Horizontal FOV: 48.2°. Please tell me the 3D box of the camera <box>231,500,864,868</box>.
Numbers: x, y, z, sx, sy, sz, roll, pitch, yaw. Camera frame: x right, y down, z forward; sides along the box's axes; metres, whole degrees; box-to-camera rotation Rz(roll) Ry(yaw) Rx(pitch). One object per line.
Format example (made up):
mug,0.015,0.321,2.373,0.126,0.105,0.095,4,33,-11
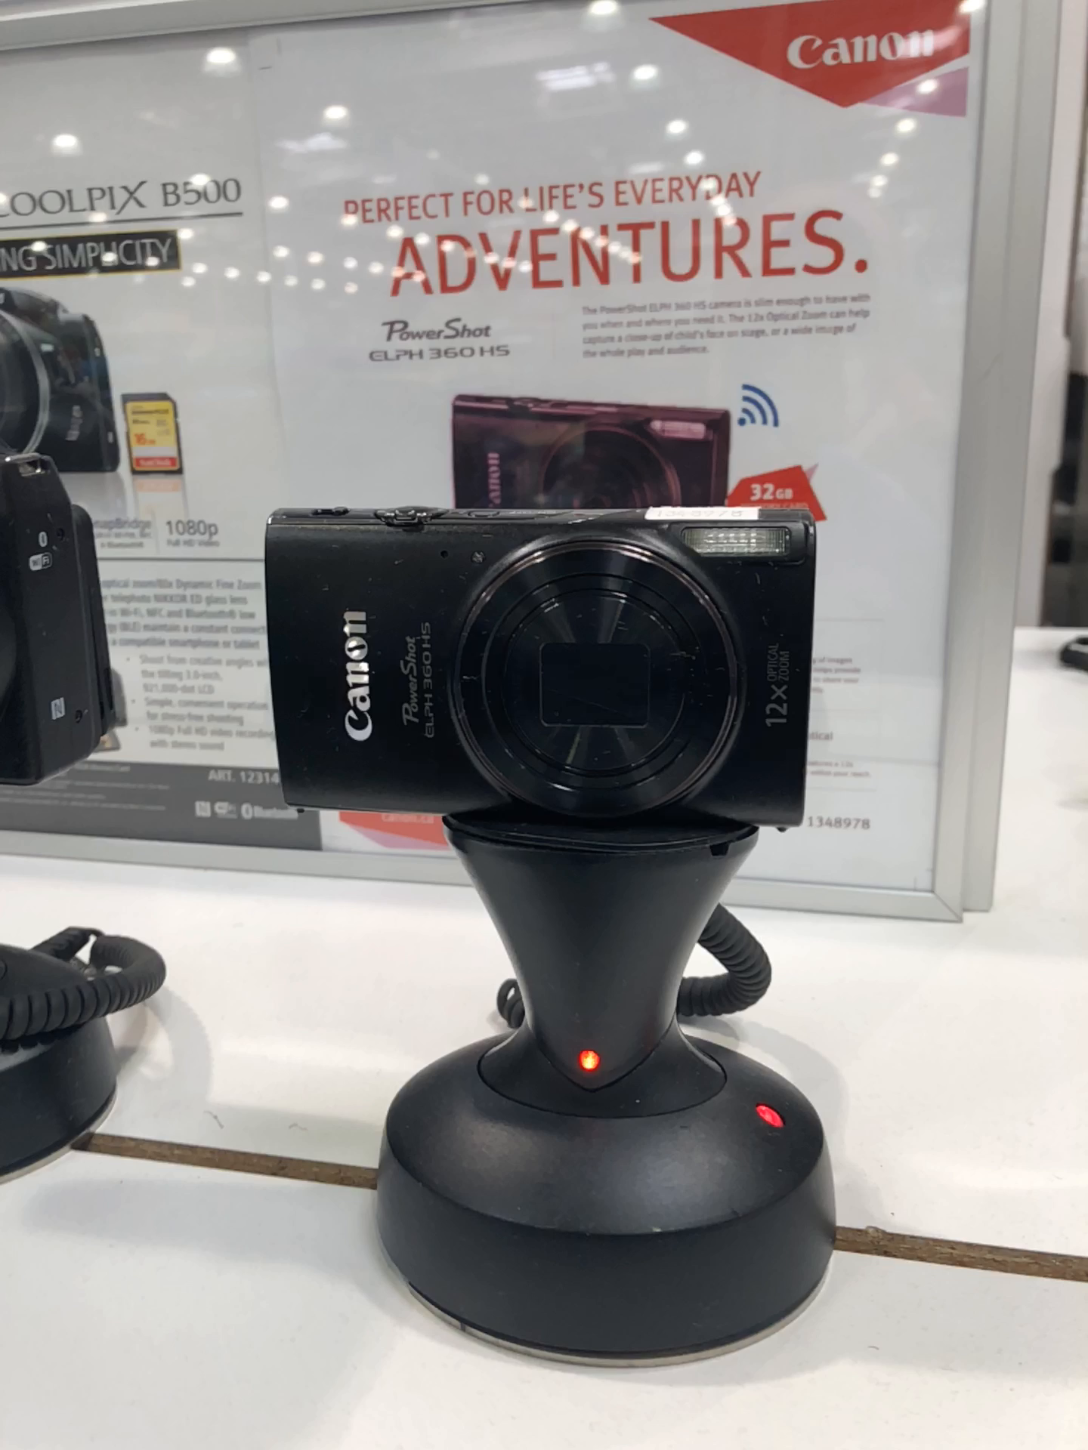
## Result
camera,0.003,-0.010,0.235,0.110,0.060,0.040,1,16,10
